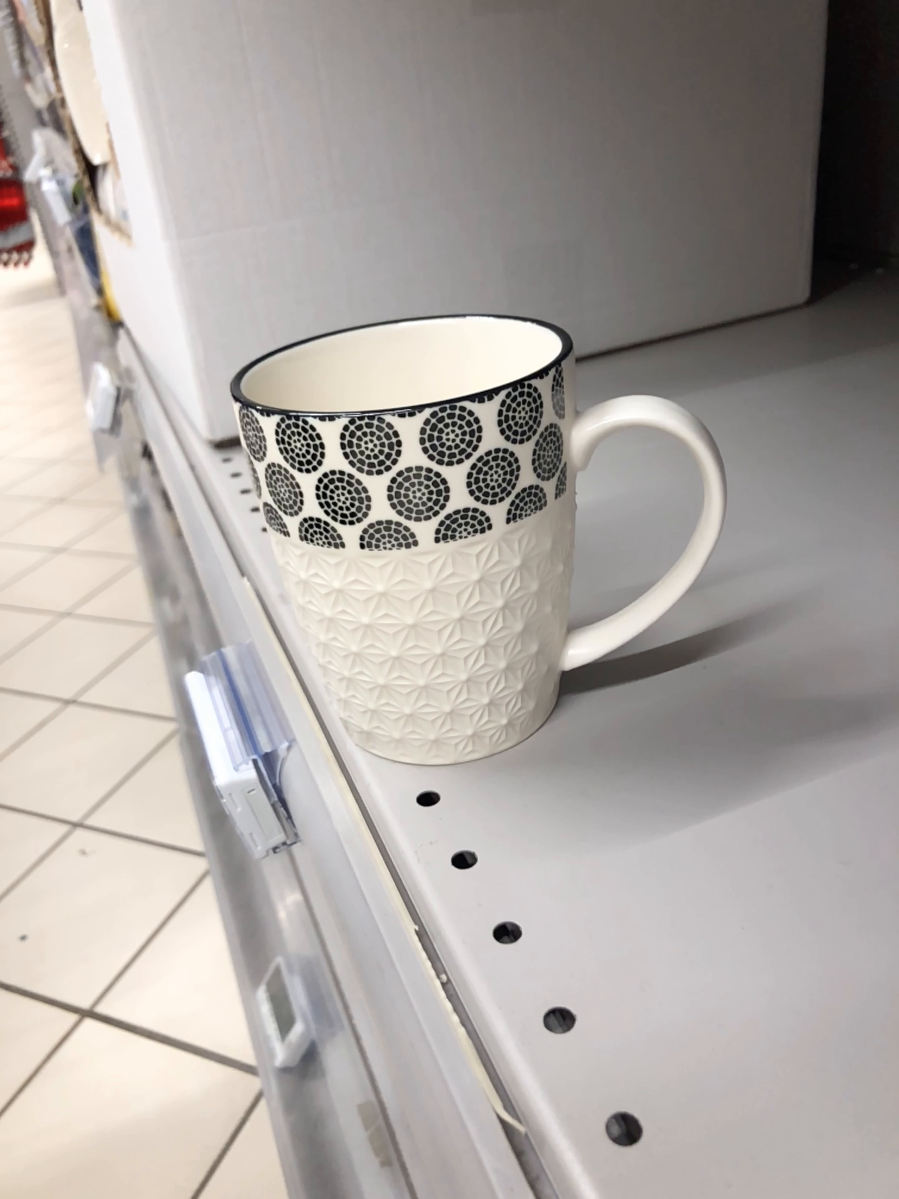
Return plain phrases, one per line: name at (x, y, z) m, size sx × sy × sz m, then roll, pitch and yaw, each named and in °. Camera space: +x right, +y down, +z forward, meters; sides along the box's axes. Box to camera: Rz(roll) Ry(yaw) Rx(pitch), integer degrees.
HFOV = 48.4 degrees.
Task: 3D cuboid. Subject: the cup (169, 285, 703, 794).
cup at (0.006, -0.017, 0.259) m, size 0.106 × 0.096 × 0.089 m, roll -3°, pitch 28°, yaw 10°
